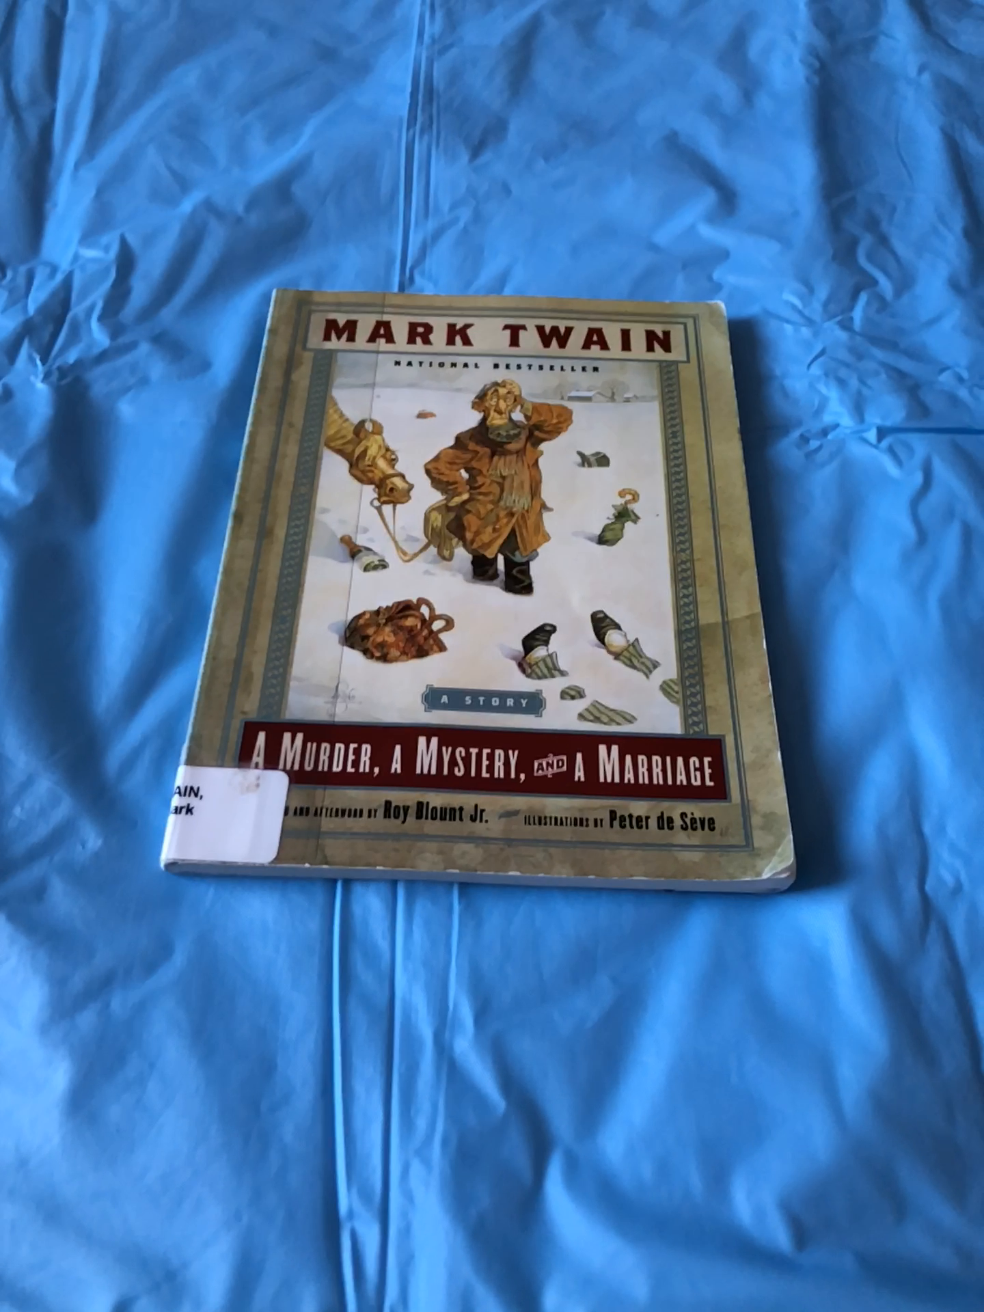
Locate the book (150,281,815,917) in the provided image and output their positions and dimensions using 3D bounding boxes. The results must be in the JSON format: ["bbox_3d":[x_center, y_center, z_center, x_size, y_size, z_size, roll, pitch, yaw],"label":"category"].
[{"bbox_3d":[0.000,-0.030,0.327,0.160,0.020,0.210,2,58,-1],"label":"book"}]
